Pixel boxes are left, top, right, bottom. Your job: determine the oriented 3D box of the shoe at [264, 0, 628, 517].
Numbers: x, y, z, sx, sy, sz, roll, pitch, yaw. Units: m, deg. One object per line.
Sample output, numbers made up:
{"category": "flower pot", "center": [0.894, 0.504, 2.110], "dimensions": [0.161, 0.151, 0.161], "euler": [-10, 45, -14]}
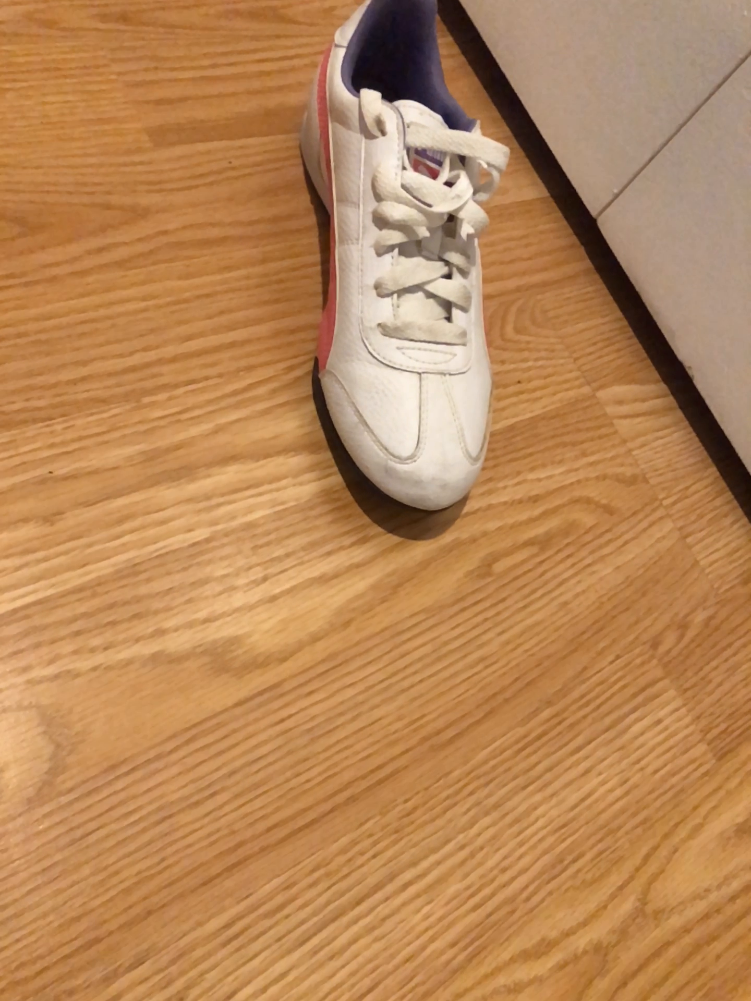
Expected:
{"category": "shoe", "center": [0.020, -0.129, 0.382], "dimensions": [0.100, 0.080, 0.260], "euler": [2, 67, -25]}
